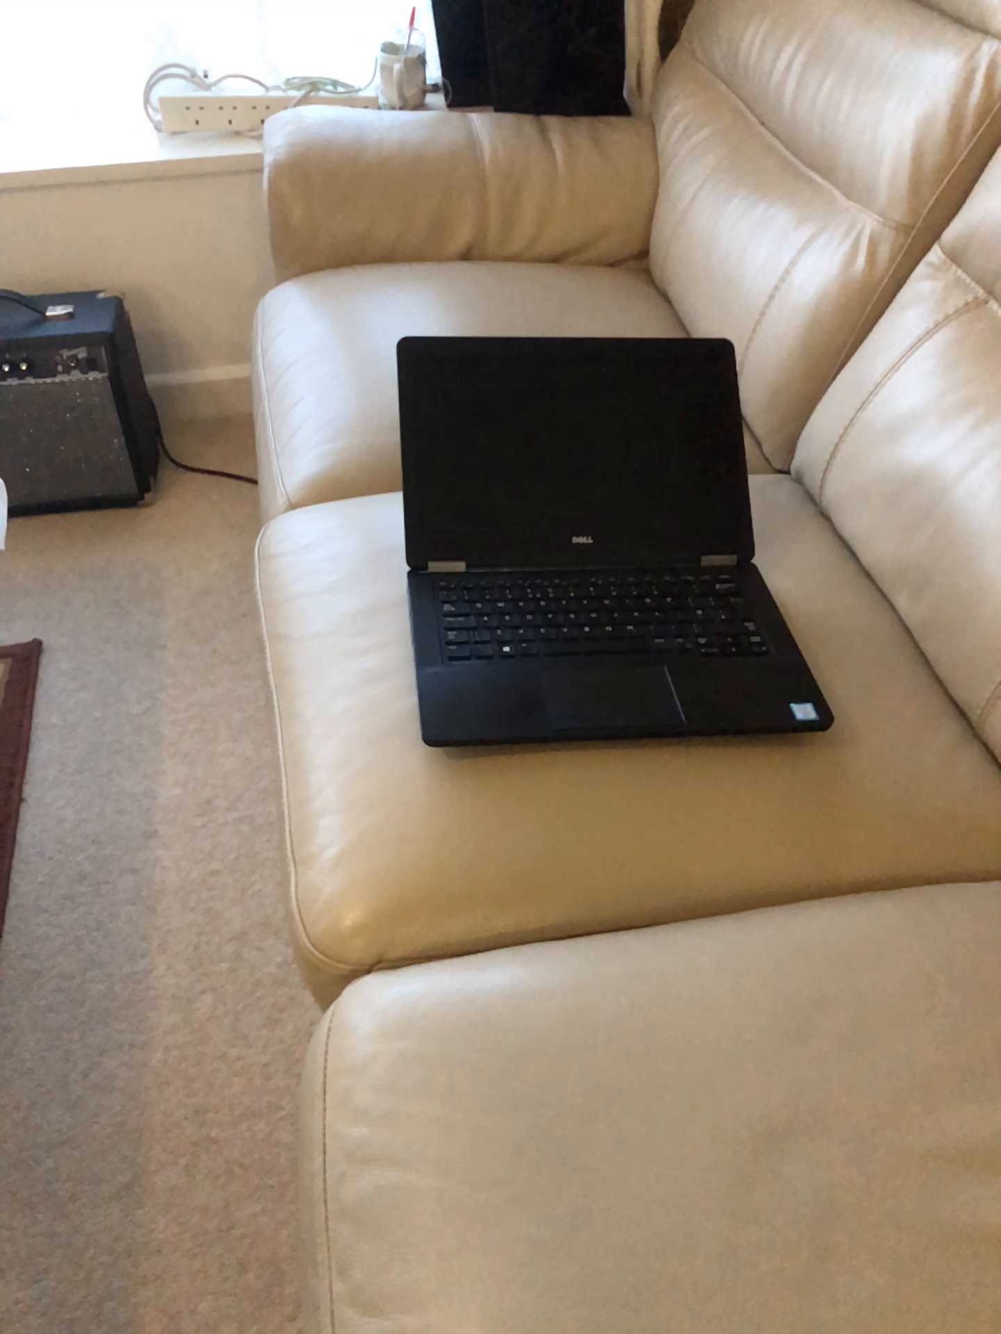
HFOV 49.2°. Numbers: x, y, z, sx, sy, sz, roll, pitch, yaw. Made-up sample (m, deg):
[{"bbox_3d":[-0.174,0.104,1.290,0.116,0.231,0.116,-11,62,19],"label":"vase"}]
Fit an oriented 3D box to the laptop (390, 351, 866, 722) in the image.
[{"bbox_3d":[0.073,-0.127,0.902,0.305,0.124,0.377,-2,39,-7],"label":"laptop"}]
